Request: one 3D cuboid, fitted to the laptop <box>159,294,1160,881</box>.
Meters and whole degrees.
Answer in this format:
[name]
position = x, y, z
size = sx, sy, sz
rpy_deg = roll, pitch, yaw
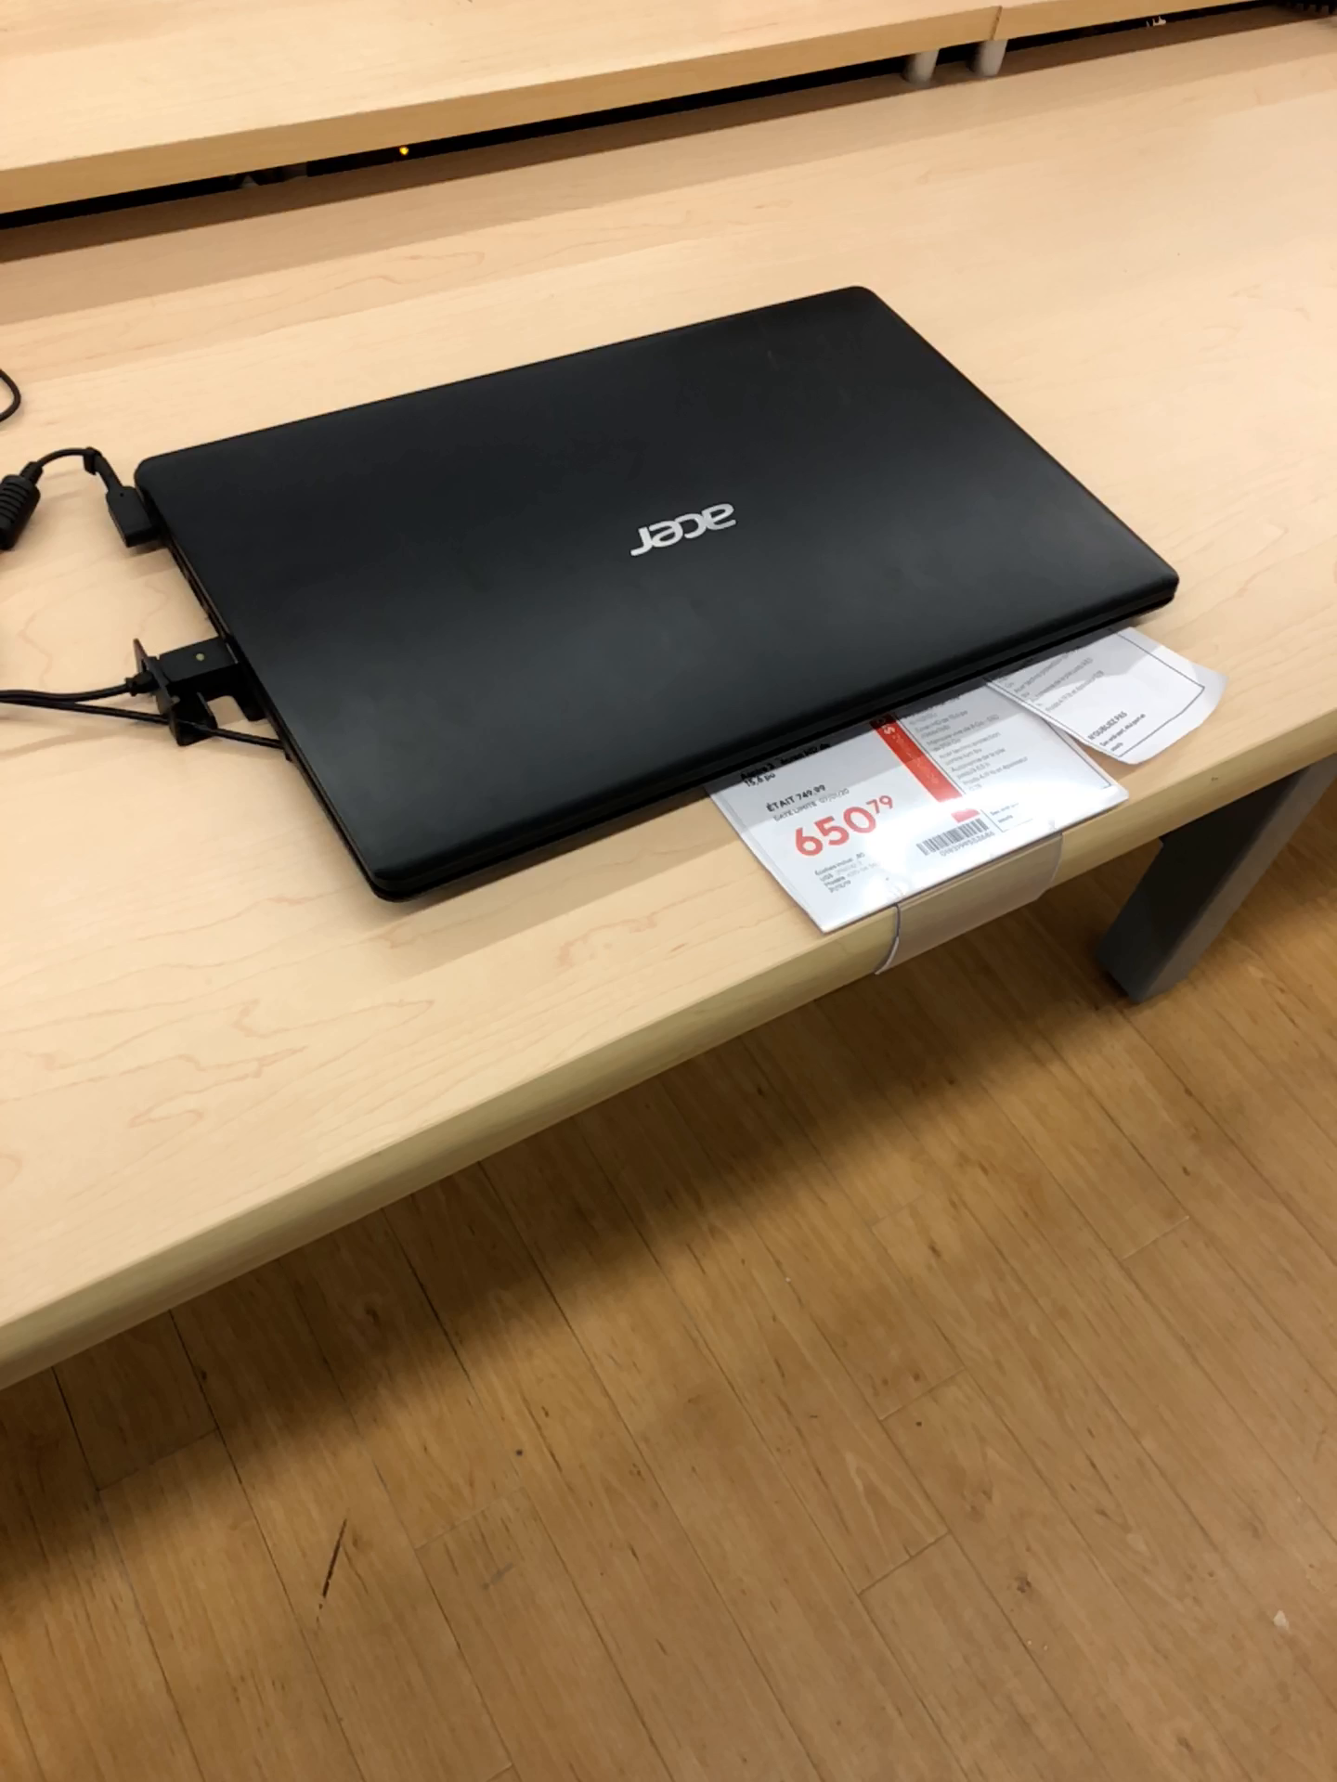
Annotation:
[laptop]
position = 0.005, -0.145, 0.583
size = 0.347, 0.003, 0.212
rpy_deg = -23, 61, -25
